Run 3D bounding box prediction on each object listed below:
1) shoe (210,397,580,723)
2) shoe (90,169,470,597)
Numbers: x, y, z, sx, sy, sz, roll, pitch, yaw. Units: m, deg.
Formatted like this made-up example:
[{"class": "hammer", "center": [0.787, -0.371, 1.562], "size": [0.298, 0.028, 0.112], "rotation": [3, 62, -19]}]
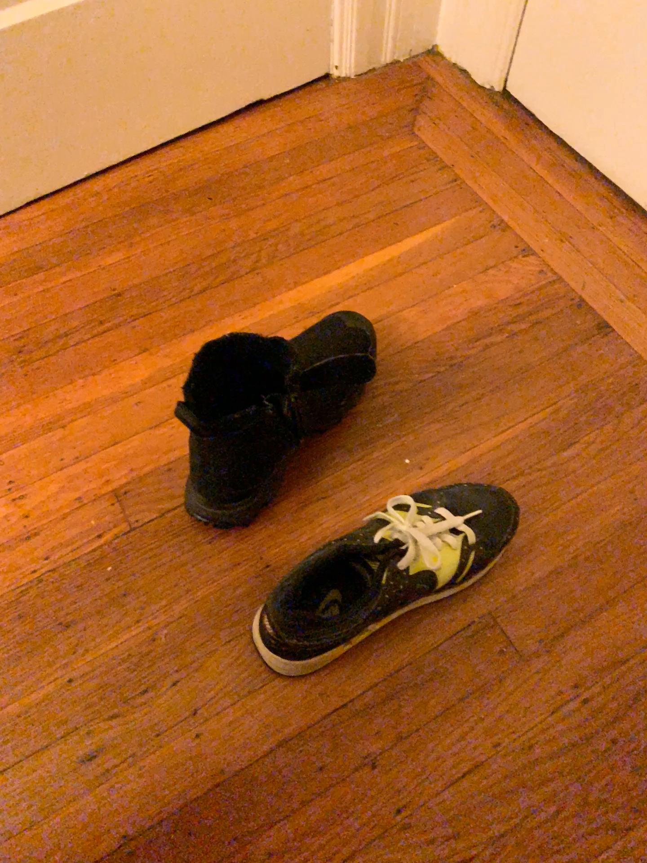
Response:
[{"class": "shoe", "center": [0.063, 0.108, 0.584], "size": [0.290, 0.100, 0.120], "rotation": [-31, 65, -16]}, {"class": "shoe", "center": [-0.025, -0.041, 0.651], "size": [0.160, 0.239, 0.310], "rotation": [32, 65, 16]}]
